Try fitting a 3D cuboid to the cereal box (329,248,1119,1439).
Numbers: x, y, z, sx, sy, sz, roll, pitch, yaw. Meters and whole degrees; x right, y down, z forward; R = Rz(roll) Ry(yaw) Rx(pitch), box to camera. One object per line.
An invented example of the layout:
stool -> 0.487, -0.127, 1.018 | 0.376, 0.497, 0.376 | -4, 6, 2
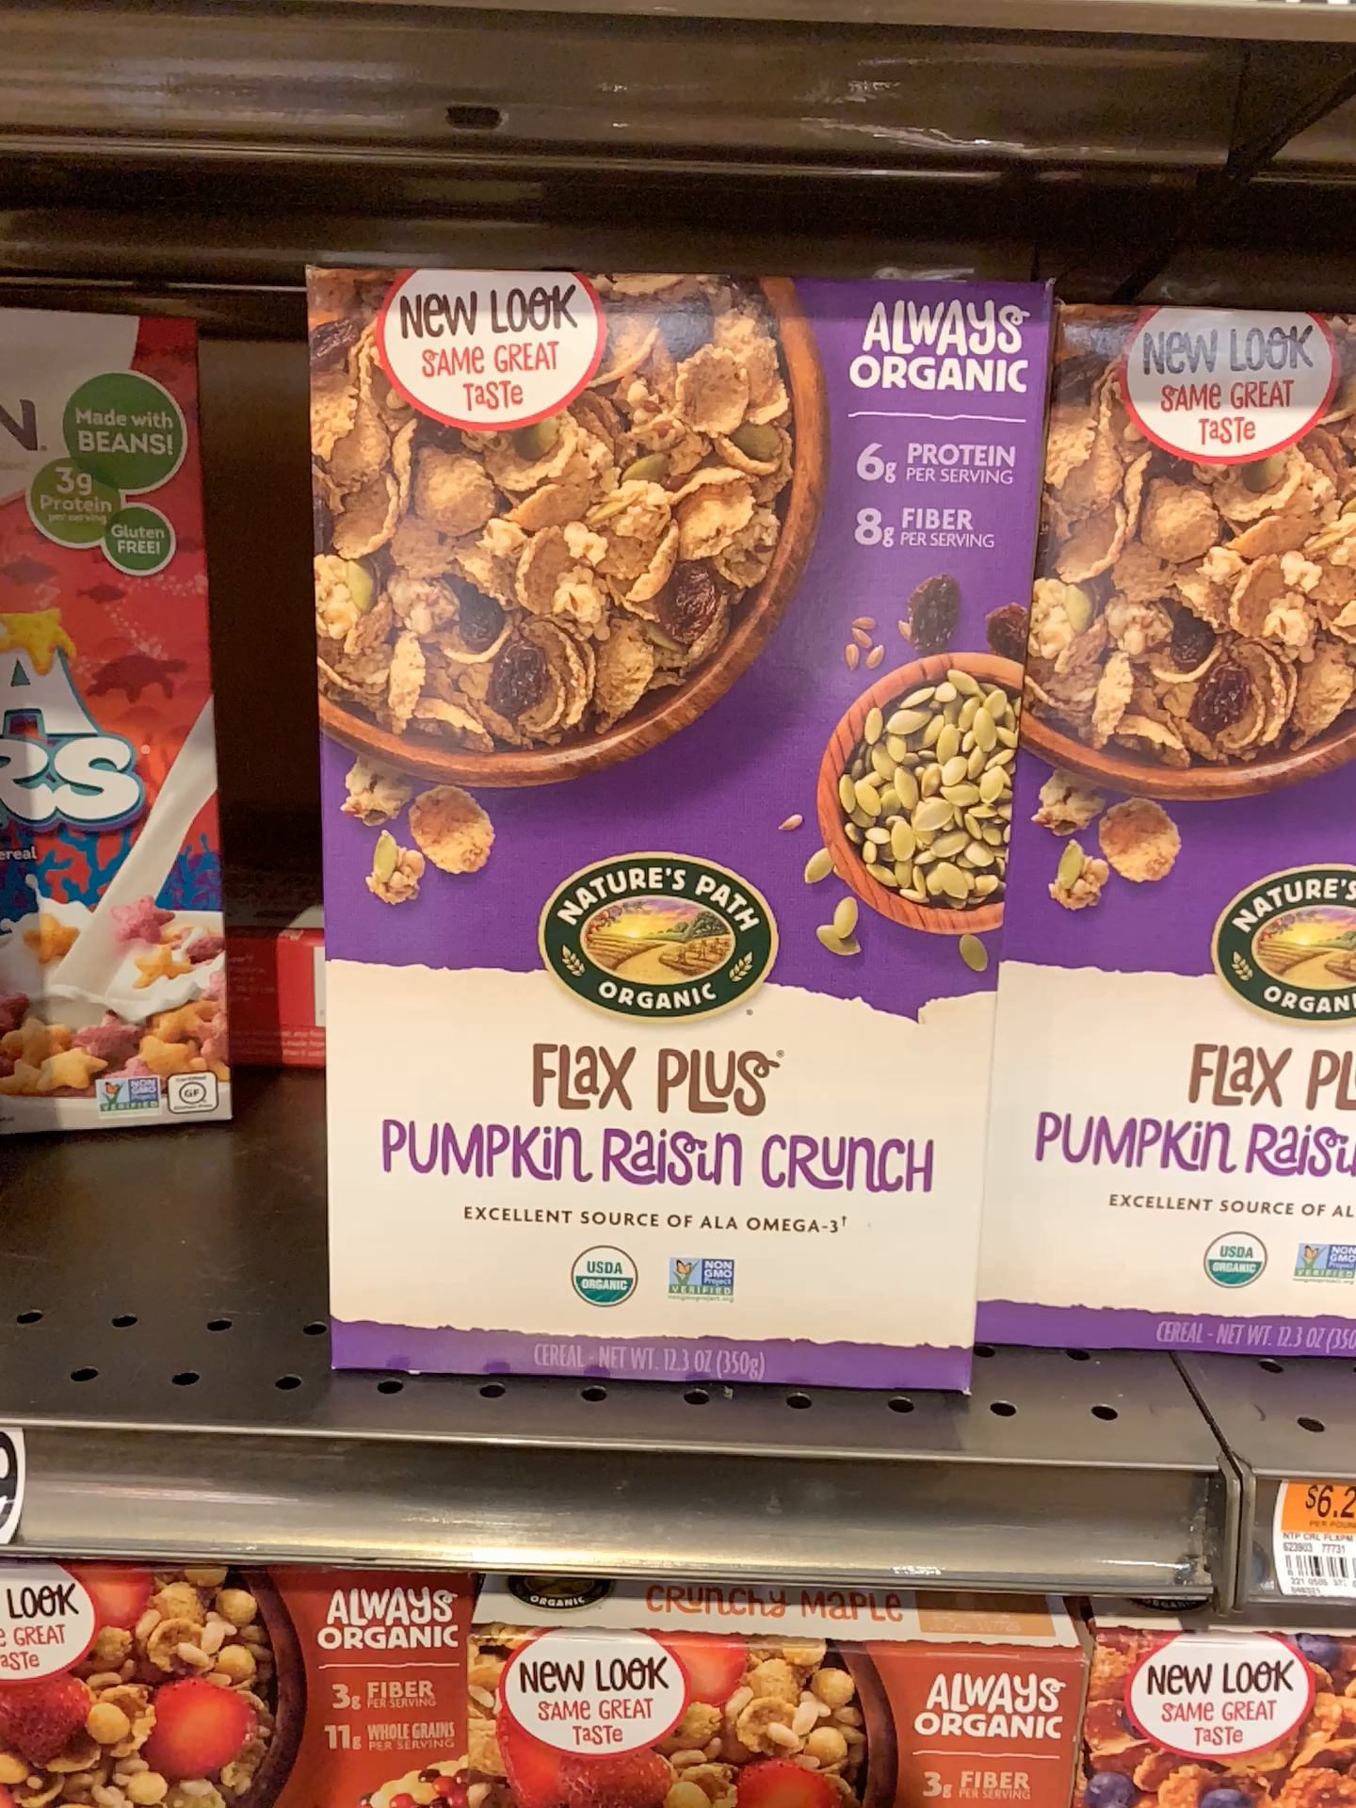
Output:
cereal box -> 0.006, -0.010, 0.345 | 0.170, 0.269, 0.050 | 2, 9, 2
